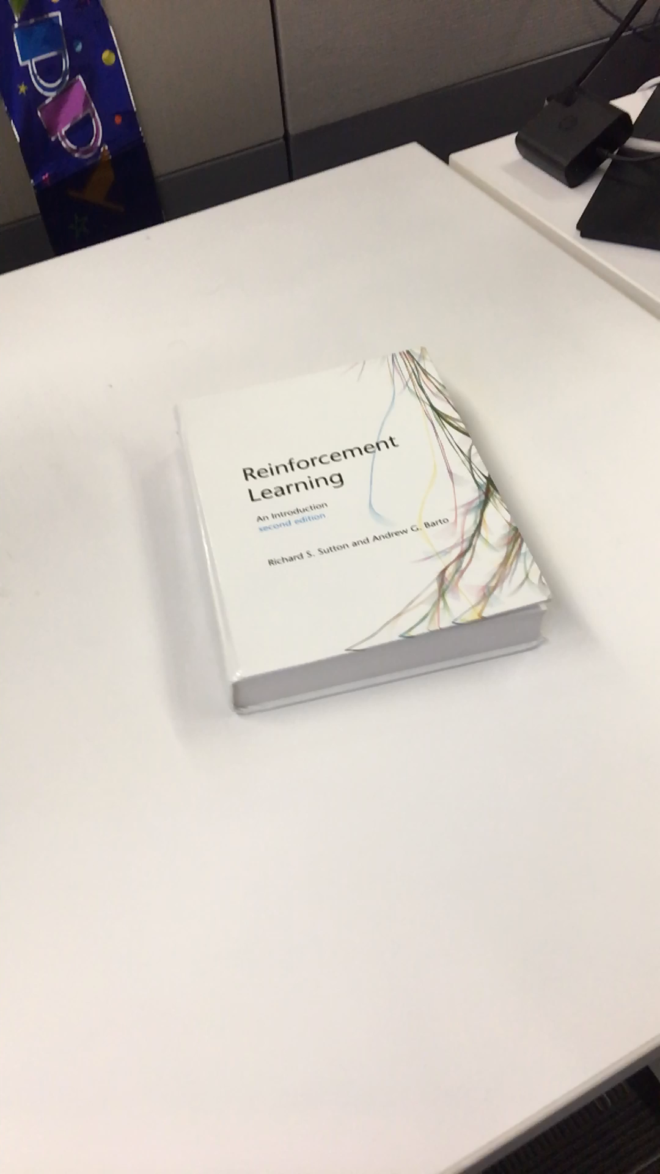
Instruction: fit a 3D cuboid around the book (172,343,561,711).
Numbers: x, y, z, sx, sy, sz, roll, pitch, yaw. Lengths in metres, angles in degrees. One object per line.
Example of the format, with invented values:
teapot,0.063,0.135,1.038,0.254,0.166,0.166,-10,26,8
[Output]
book,0.009,-0.050,0.599,0.180,0.030,0.240,-12,50,-5
